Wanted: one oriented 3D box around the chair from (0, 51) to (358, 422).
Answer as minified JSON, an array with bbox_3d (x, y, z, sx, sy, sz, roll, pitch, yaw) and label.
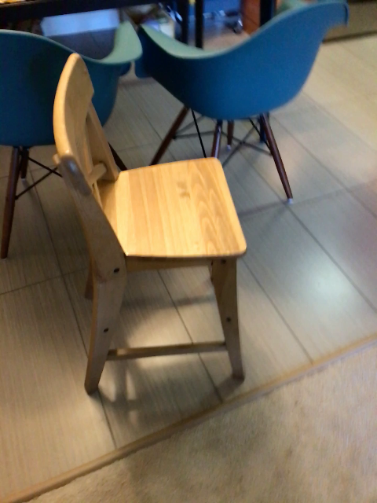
[{"bbox_3d":[-0.045,-0.005,0.941,0.490,0.686,0.442,-7,47,-8],"label":"chair"}]
